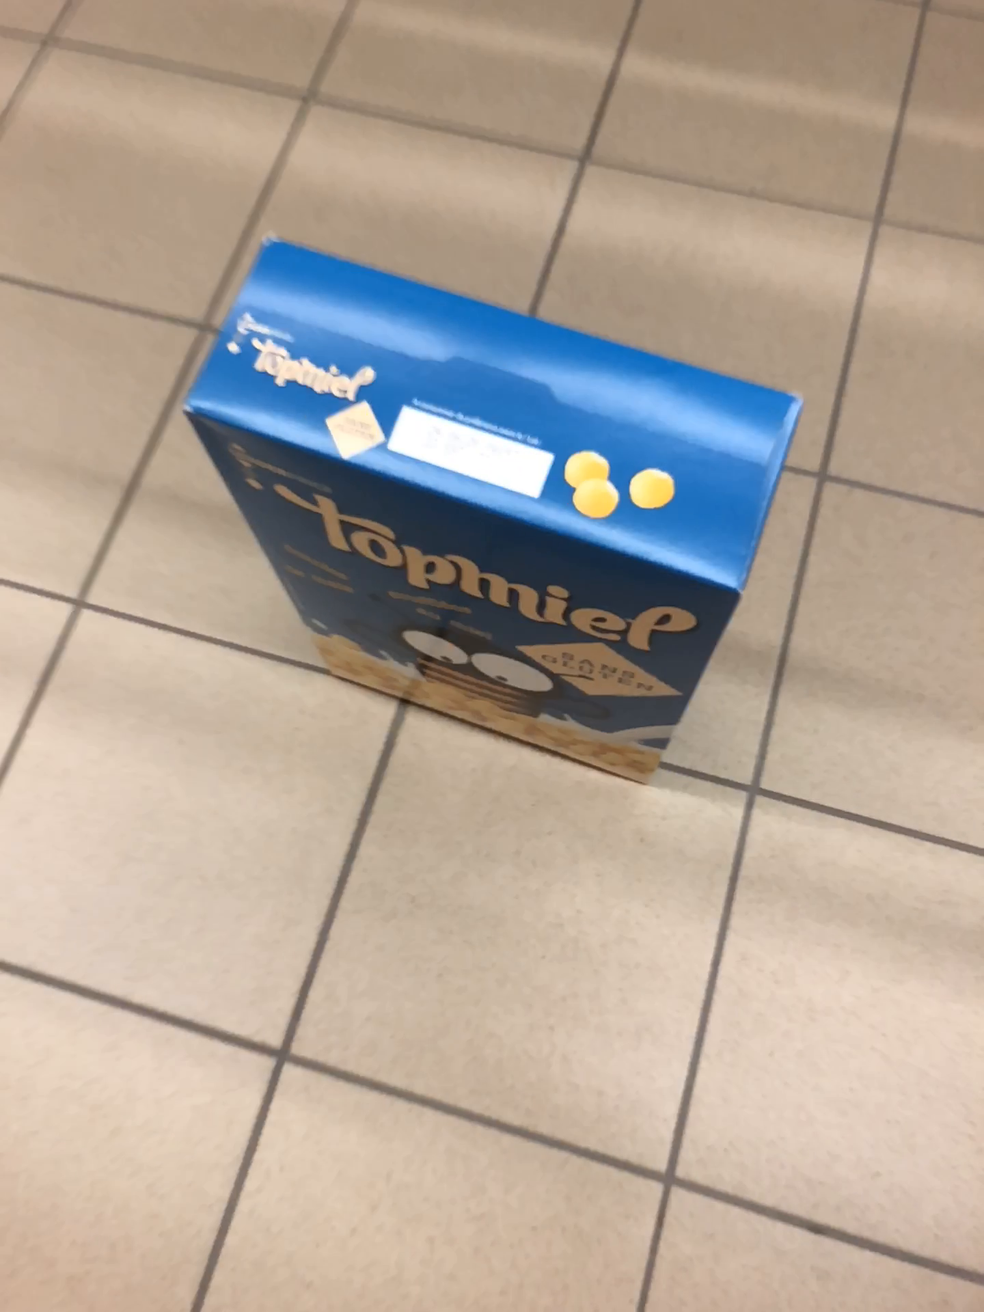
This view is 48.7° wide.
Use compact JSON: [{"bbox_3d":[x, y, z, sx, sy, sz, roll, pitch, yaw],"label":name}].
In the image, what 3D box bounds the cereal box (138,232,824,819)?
[{"bbox_3d":[0.000,-0.029,0.471,0.200,0.279,0.080,17,70,8],"label":"cereal box"}]
